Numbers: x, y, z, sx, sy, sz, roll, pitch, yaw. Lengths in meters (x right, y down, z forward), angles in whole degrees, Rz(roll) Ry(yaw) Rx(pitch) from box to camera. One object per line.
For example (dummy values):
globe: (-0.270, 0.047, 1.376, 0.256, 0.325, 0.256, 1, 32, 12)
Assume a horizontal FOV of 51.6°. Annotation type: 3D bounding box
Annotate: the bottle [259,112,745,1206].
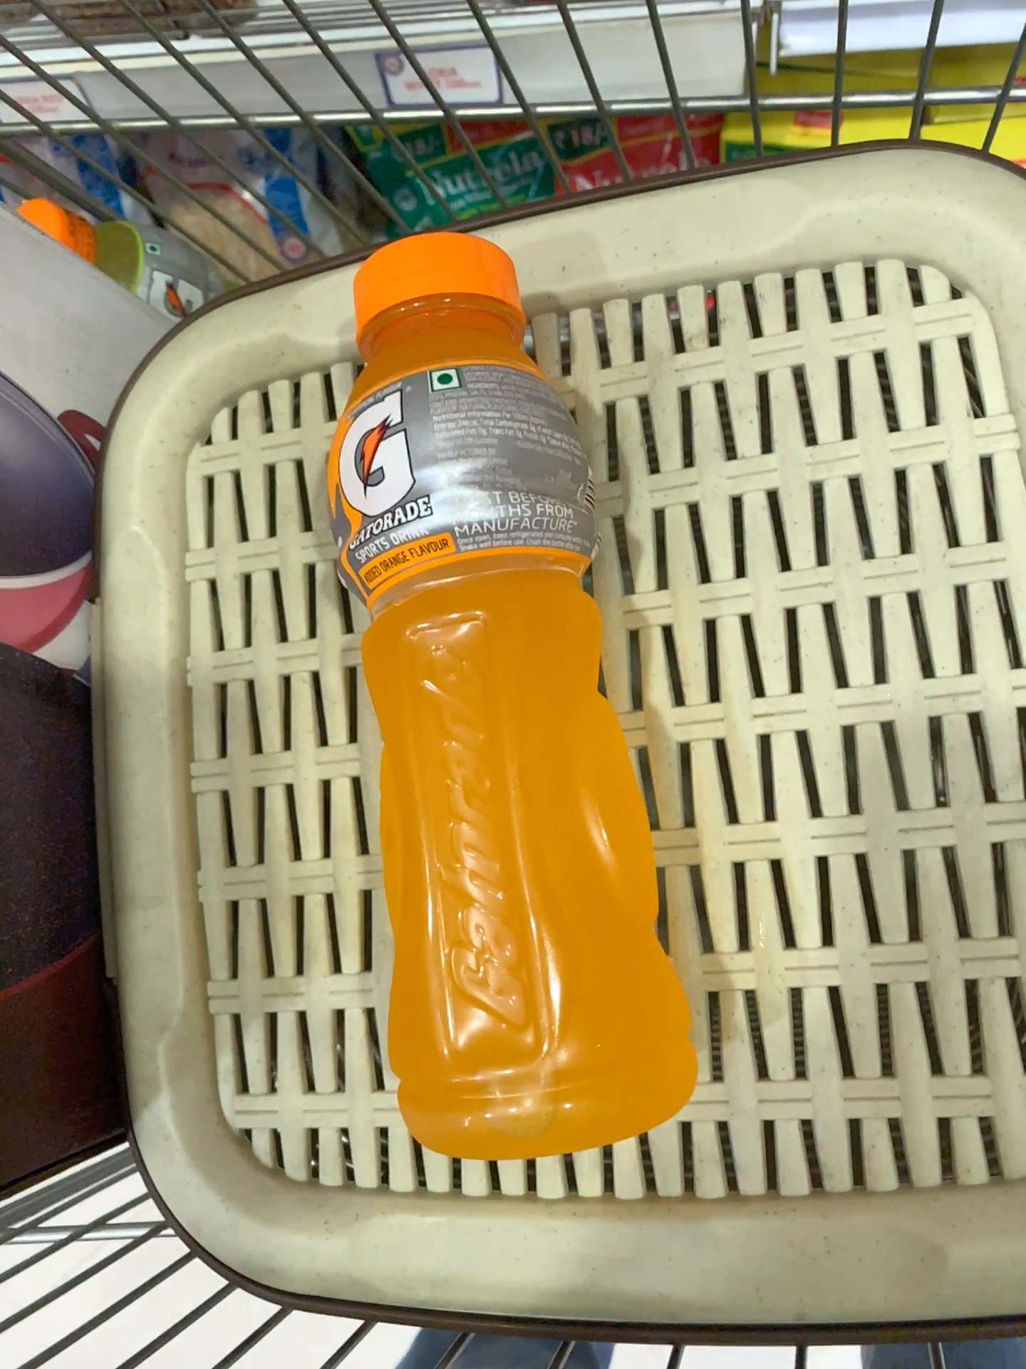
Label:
bottle: (-0.006, -0.006, 0.240, 0.060, 0.060, 0.210, -16, 77, 42)
